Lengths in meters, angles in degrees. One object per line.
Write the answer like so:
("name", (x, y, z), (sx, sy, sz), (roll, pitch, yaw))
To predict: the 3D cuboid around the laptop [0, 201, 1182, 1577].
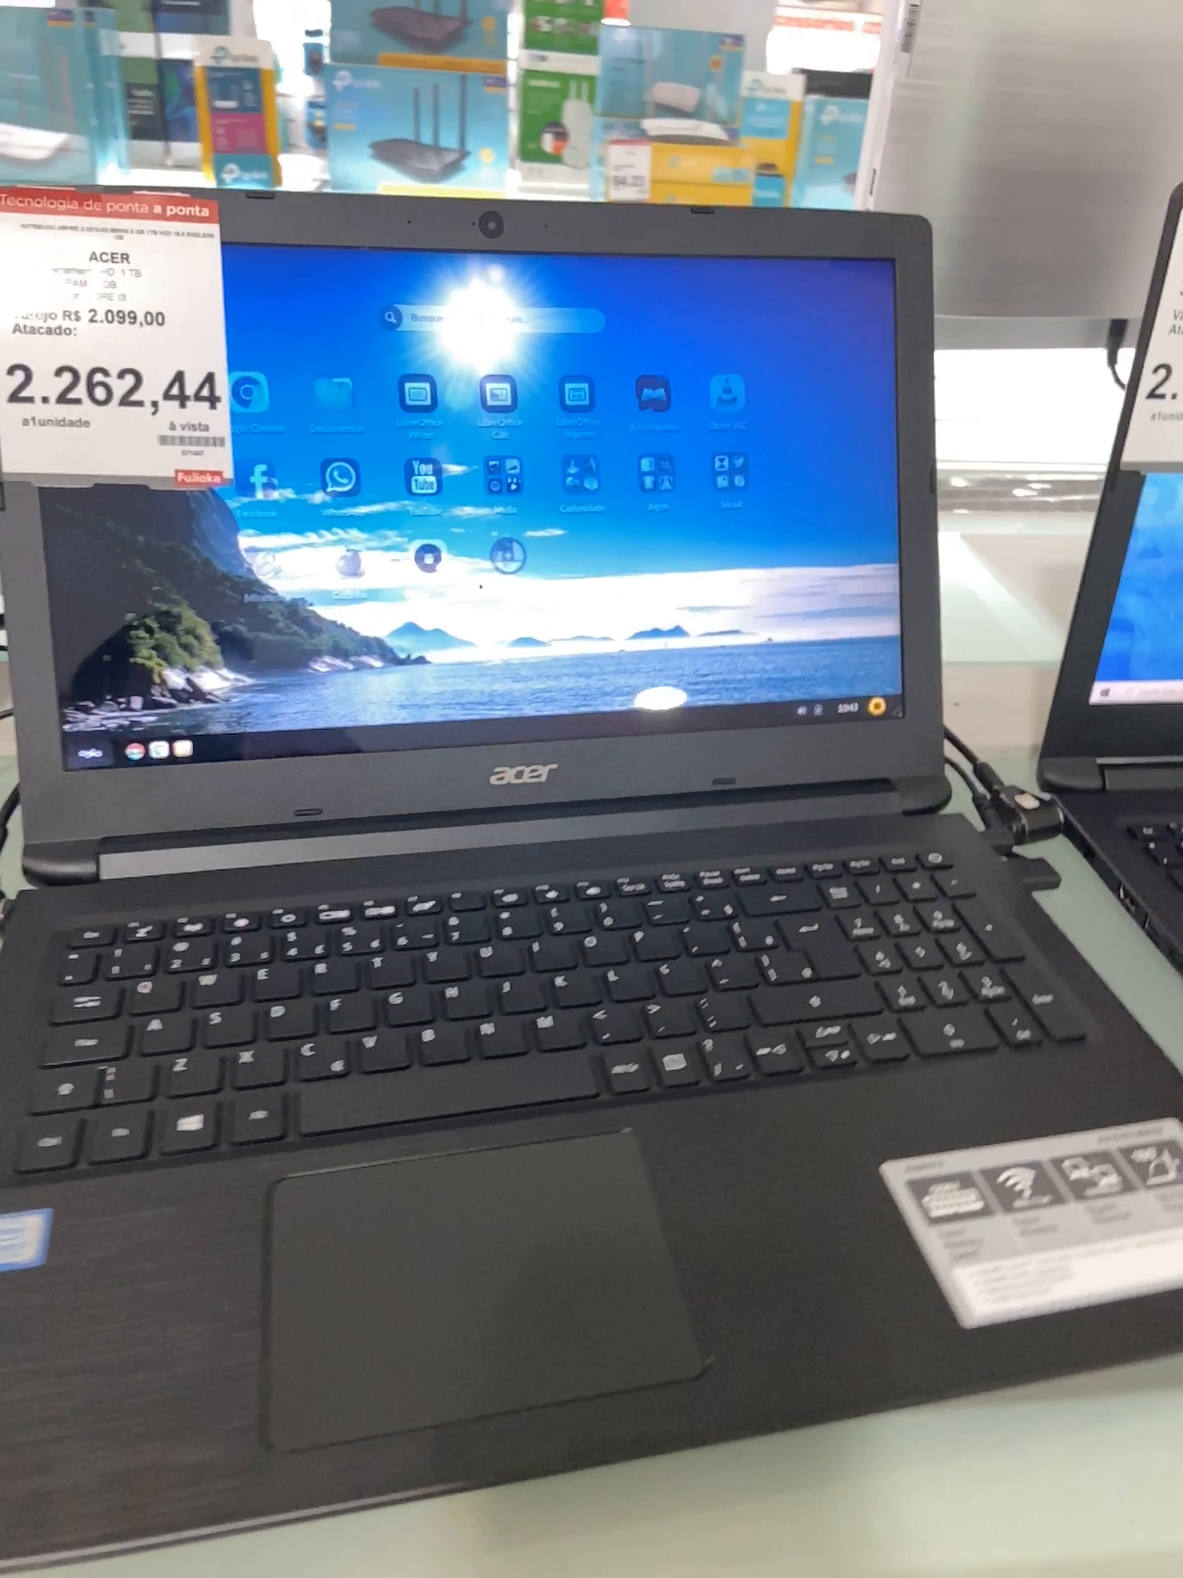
("laptop", (-0.006, -0.039, 0.394), (0.389, 0.226, 0.376), (-4, 31, -12))
